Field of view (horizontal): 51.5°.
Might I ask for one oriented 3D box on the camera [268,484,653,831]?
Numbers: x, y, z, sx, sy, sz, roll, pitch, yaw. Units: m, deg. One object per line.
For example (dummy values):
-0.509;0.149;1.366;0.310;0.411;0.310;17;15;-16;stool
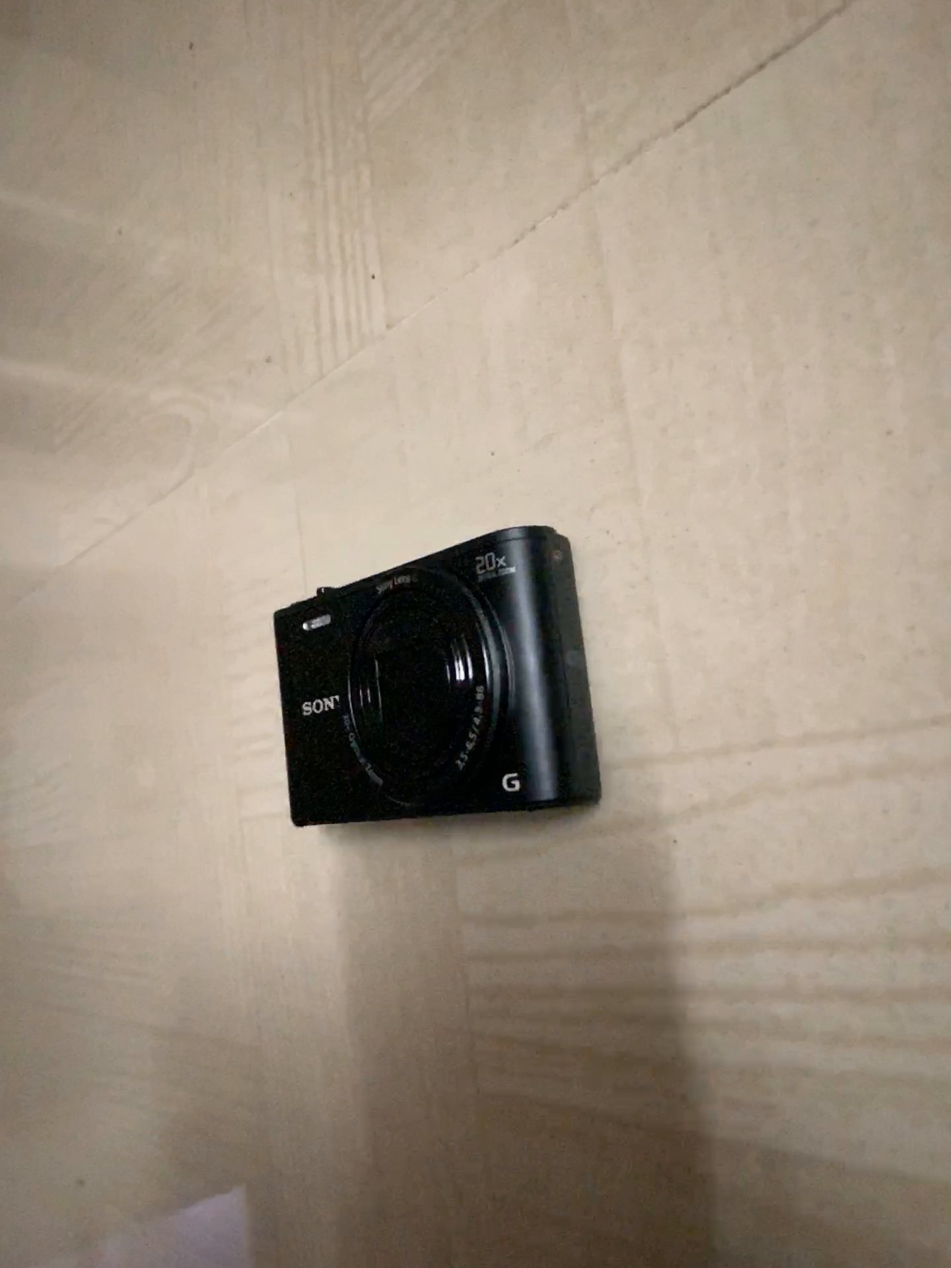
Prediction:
-0.009;0.010;0.217;0.093;0.024;0.060;-15;79;48;camera
